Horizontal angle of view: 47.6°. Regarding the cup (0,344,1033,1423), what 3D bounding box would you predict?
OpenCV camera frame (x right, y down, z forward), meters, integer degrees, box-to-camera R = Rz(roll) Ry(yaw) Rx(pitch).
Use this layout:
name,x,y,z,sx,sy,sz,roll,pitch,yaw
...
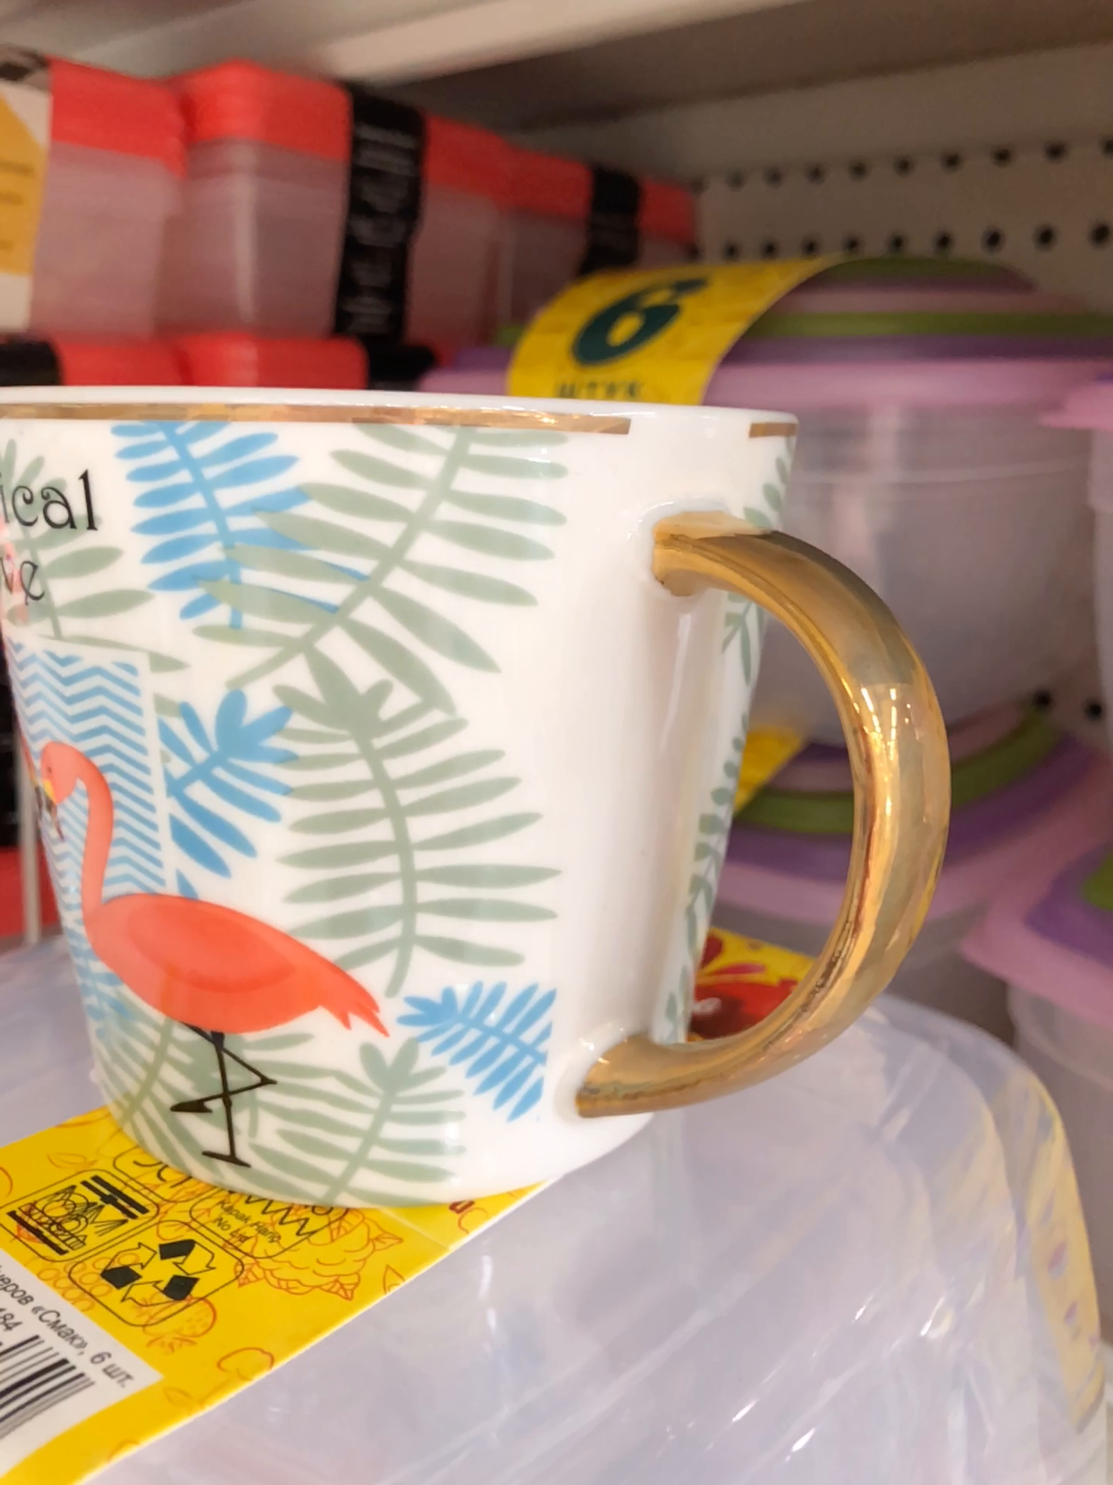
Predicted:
name,x,y,z,sx,sy,sz,roll,pitch,yaw
cup,-0.016,-0.004,0.168,0.128,0.085,0.102,8,15,27
